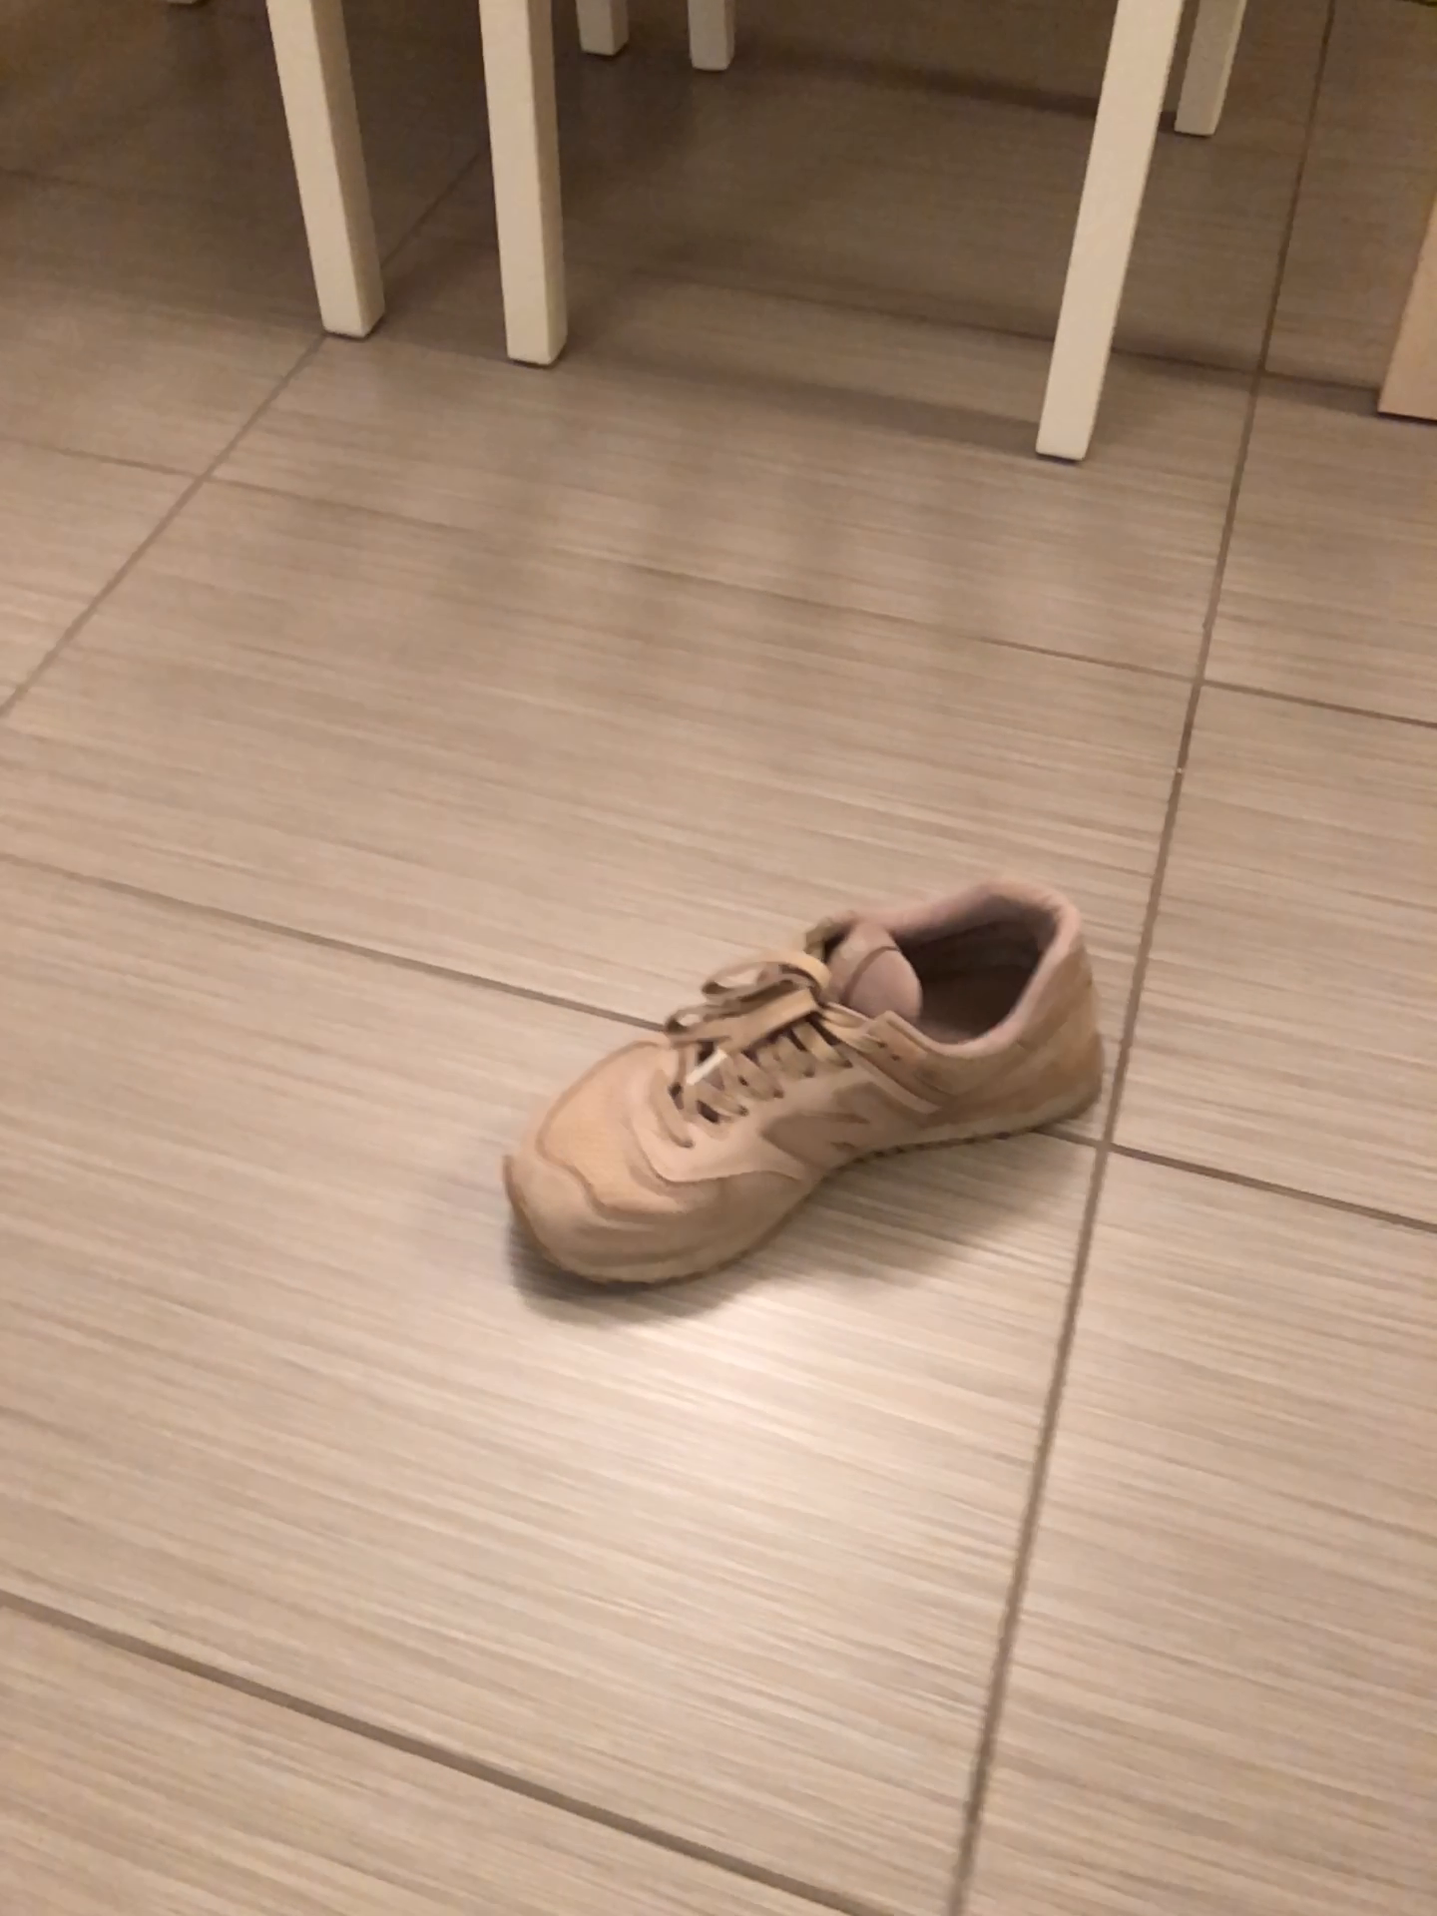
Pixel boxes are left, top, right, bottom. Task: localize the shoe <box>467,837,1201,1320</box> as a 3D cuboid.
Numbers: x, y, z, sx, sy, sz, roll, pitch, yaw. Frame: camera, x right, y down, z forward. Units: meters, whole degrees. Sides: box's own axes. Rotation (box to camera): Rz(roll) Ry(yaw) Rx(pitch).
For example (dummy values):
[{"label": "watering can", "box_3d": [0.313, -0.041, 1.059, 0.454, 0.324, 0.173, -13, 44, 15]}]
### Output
[{"label": "shoe", "box_3d": [0.045, 0.047, 0.655, 0.270, 0.090, 0.100, -15, 53, -10]}]
